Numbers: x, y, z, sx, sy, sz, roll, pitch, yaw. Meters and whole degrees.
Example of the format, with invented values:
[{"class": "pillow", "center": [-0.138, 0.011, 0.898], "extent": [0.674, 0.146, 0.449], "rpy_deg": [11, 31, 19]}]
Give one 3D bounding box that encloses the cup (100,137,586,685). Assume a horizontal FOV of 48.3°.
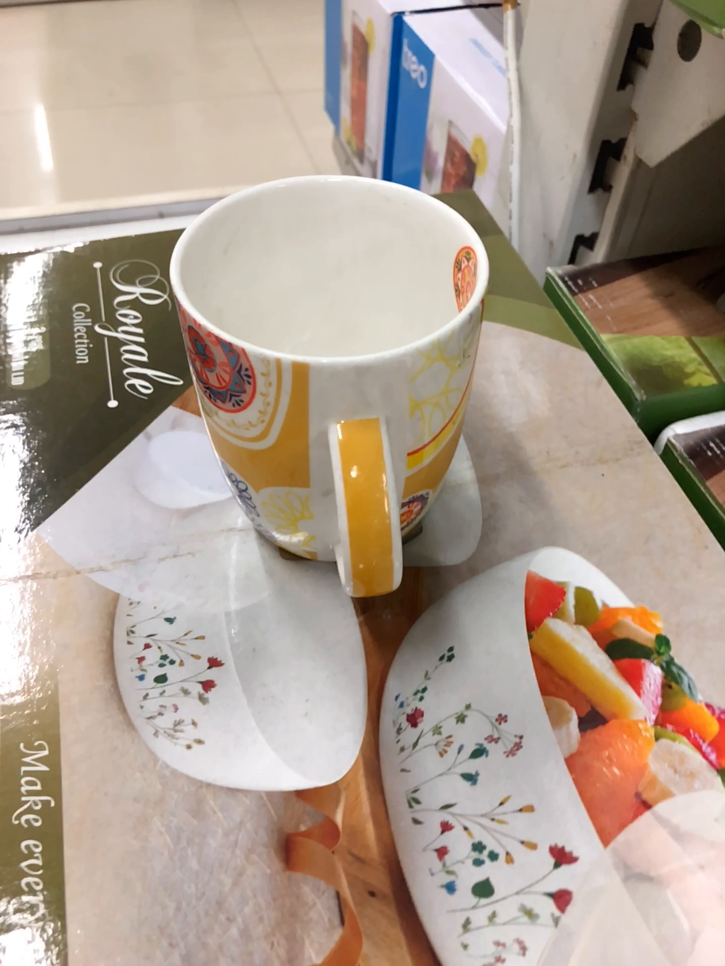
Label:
[{"class": "cup", "center": [-0.008, -0.023, 0.223], "extent": [0.090, 0.089, 0.121], "rpy_deg": [-1, 49, -4]}]
